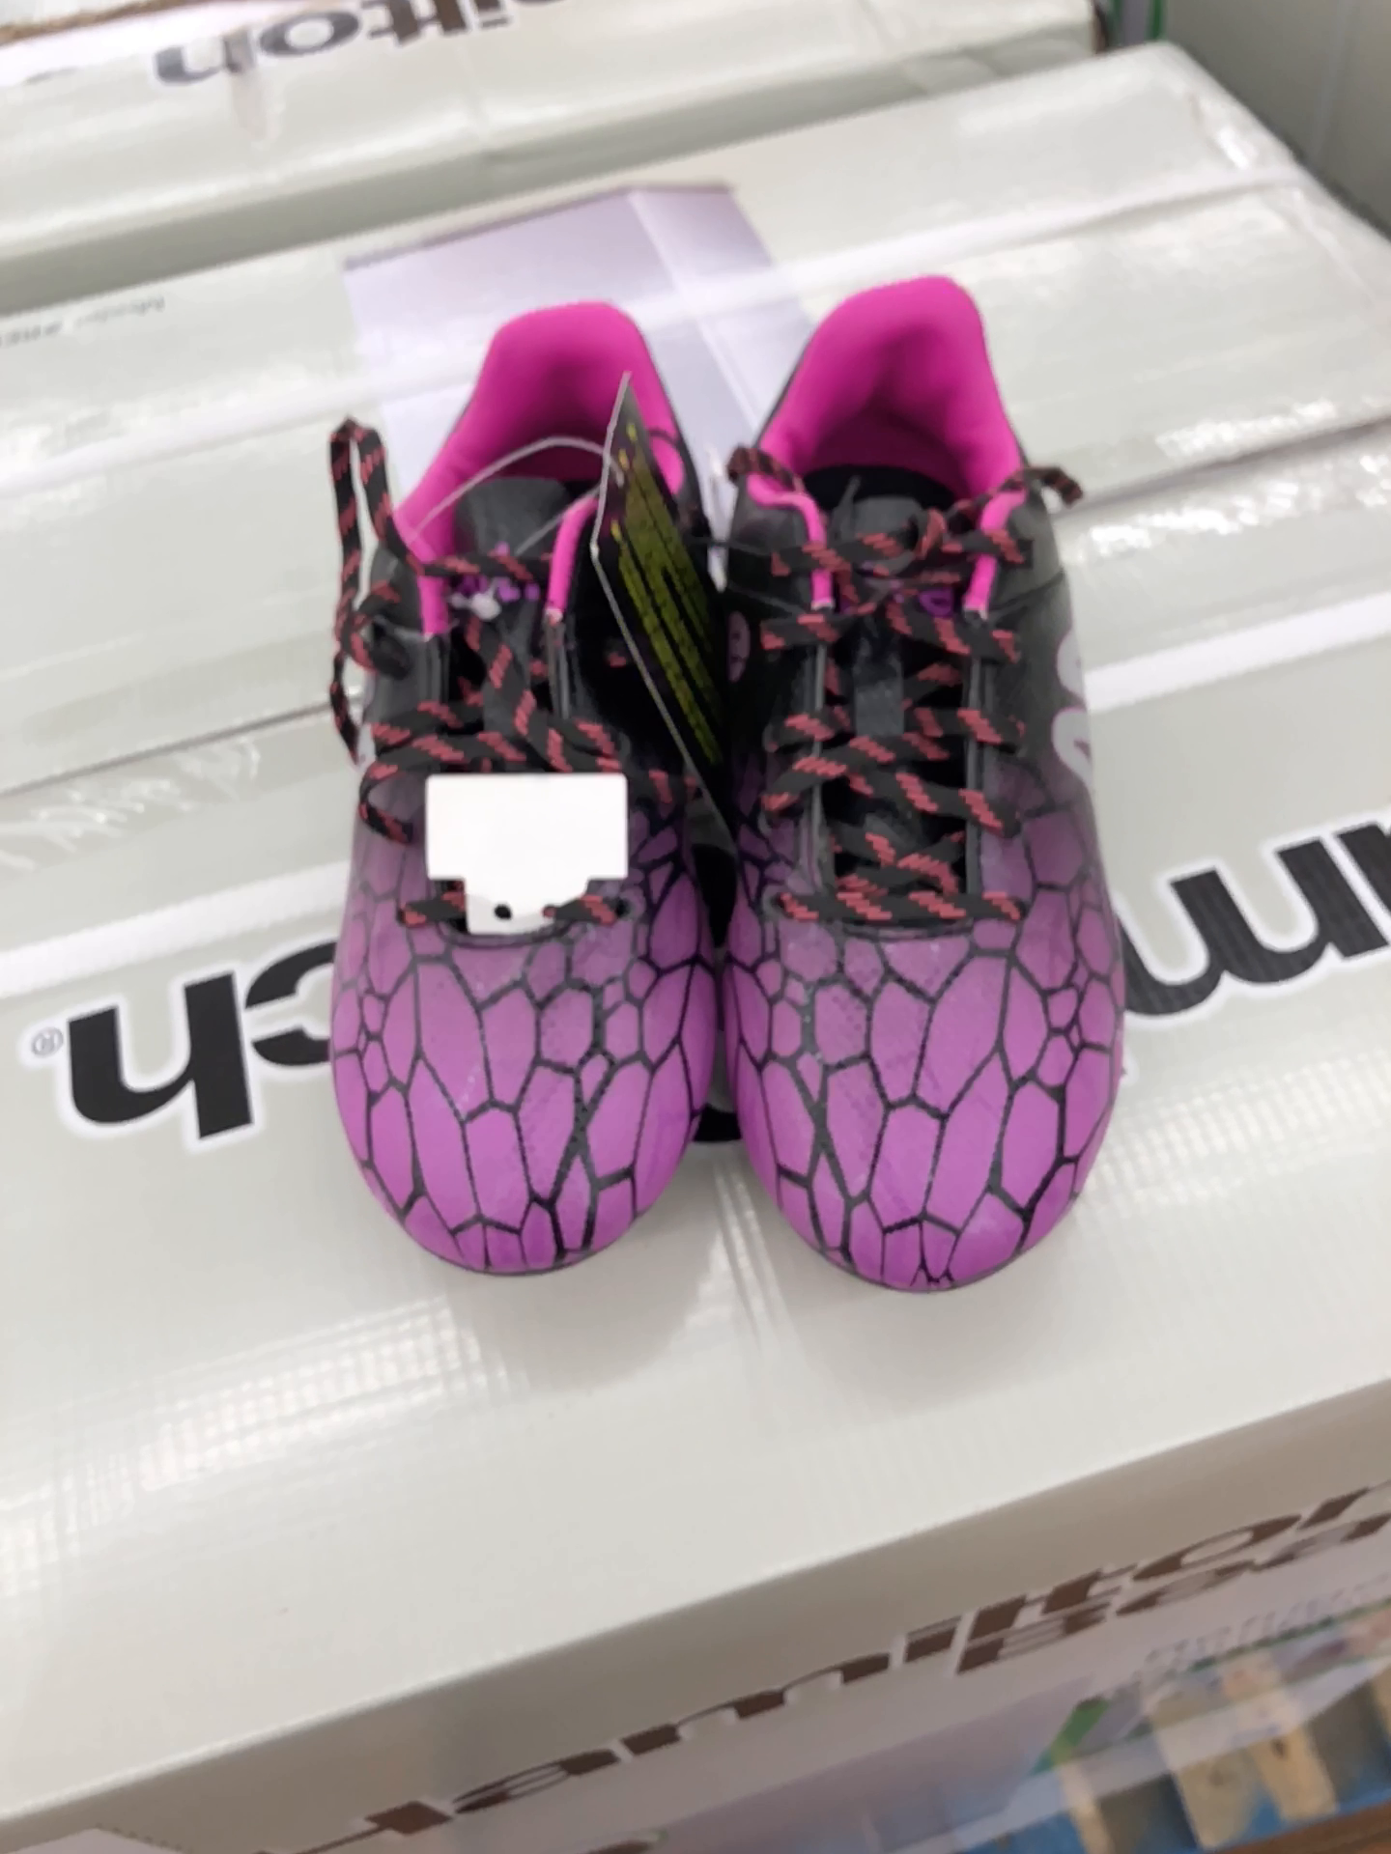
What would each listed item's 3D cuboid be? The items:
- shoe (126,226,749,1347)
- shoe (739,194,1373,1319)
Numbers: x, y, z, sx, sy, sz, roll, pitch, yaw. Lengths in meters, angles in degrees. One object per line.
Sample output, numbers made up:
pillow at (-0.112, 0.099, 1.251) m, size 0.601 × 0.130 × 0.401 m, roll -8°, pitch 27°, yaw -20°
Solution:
shoe at (-0.032, -0.036, 0.304) m, size 0.080 × 0.080 × 0.210 m, roll -2°, pitch 55°, yaw 5°
shoe at (0.053, -0.042, 0.303) m, size 0.080 × 0.080 × 0.210 m, roll -3°, pitch 55°, yaw 4°
